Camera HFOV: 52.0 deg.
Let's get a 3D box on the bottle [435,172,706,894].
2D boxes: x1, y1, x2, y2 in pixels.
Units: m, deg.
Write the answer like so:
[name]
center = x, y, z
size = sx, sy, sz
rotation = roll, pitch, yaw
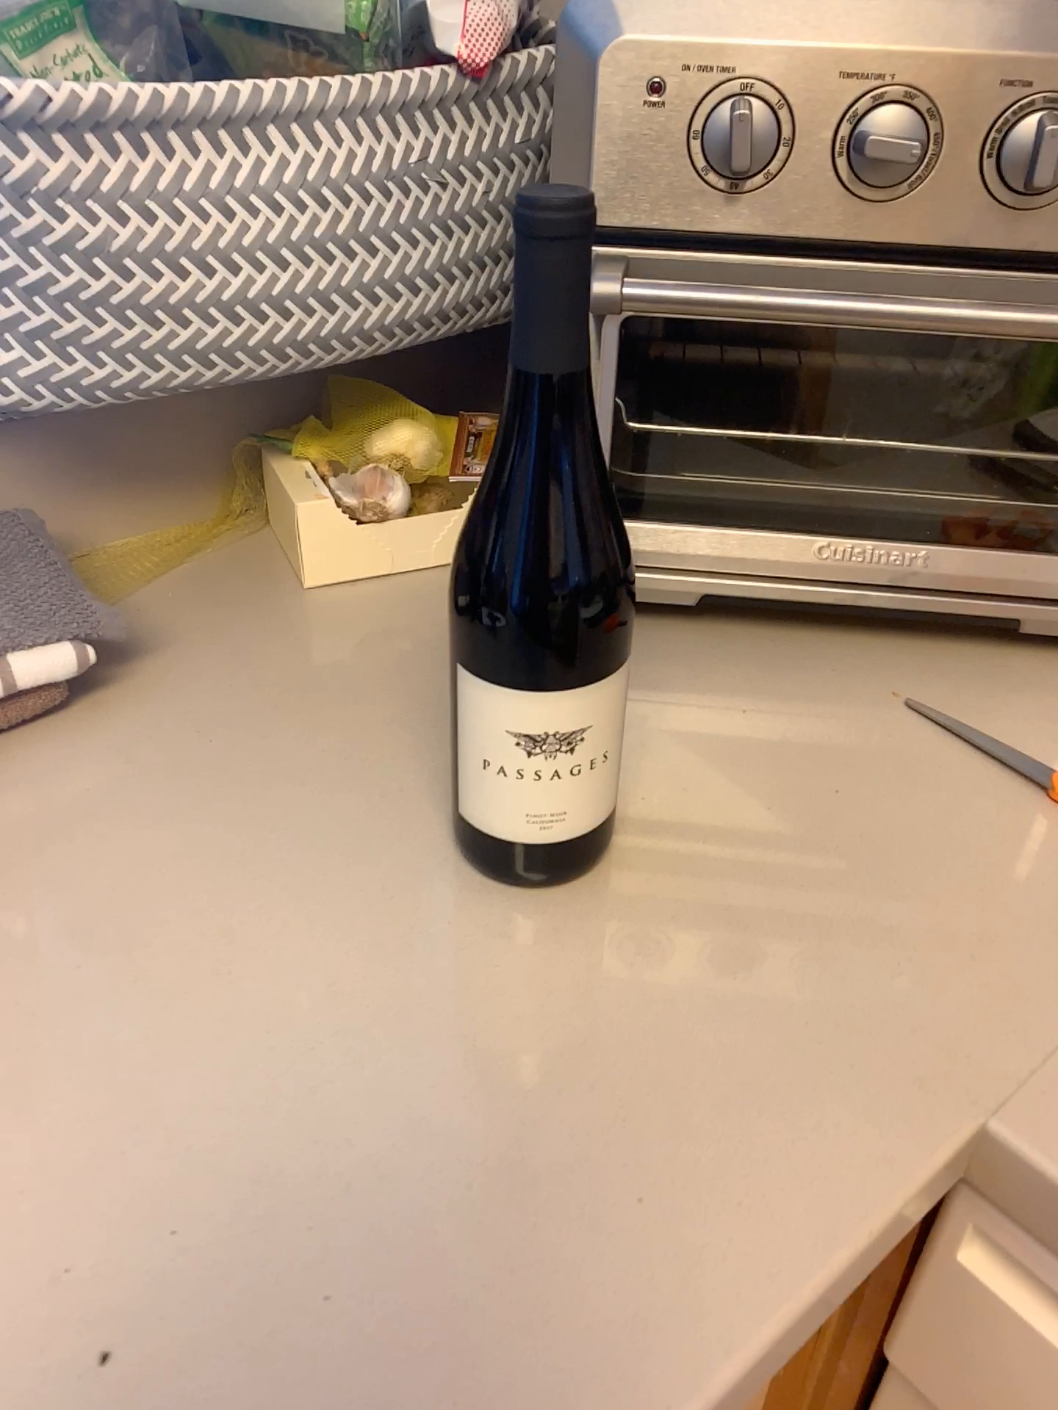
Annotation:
[bottle]
center = 0.006, -0.056, 0.432
size = 0.080, 0.268, 0.091
rotation = -1, 34, -4
